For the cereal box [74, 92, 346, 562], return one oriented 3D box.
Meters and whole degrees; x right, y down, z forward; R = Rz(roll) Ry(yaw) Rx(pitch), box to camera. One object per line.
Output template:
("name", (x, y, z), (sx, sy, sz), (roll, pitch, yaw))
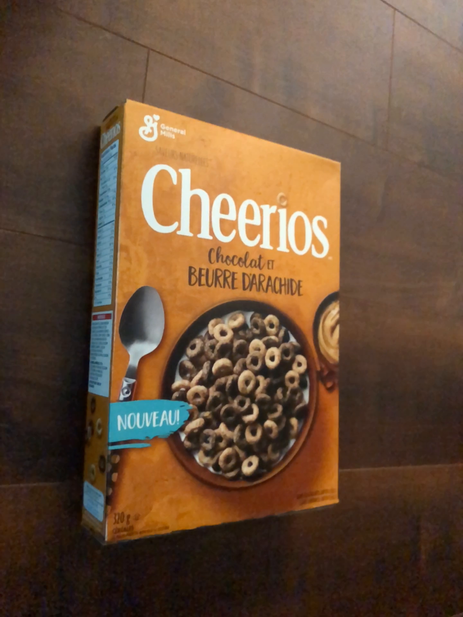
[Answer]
("cereal box", (-0.007, 0.015, 0.405), (0.201, 0.060, 0.300), (4, 86, -32))
